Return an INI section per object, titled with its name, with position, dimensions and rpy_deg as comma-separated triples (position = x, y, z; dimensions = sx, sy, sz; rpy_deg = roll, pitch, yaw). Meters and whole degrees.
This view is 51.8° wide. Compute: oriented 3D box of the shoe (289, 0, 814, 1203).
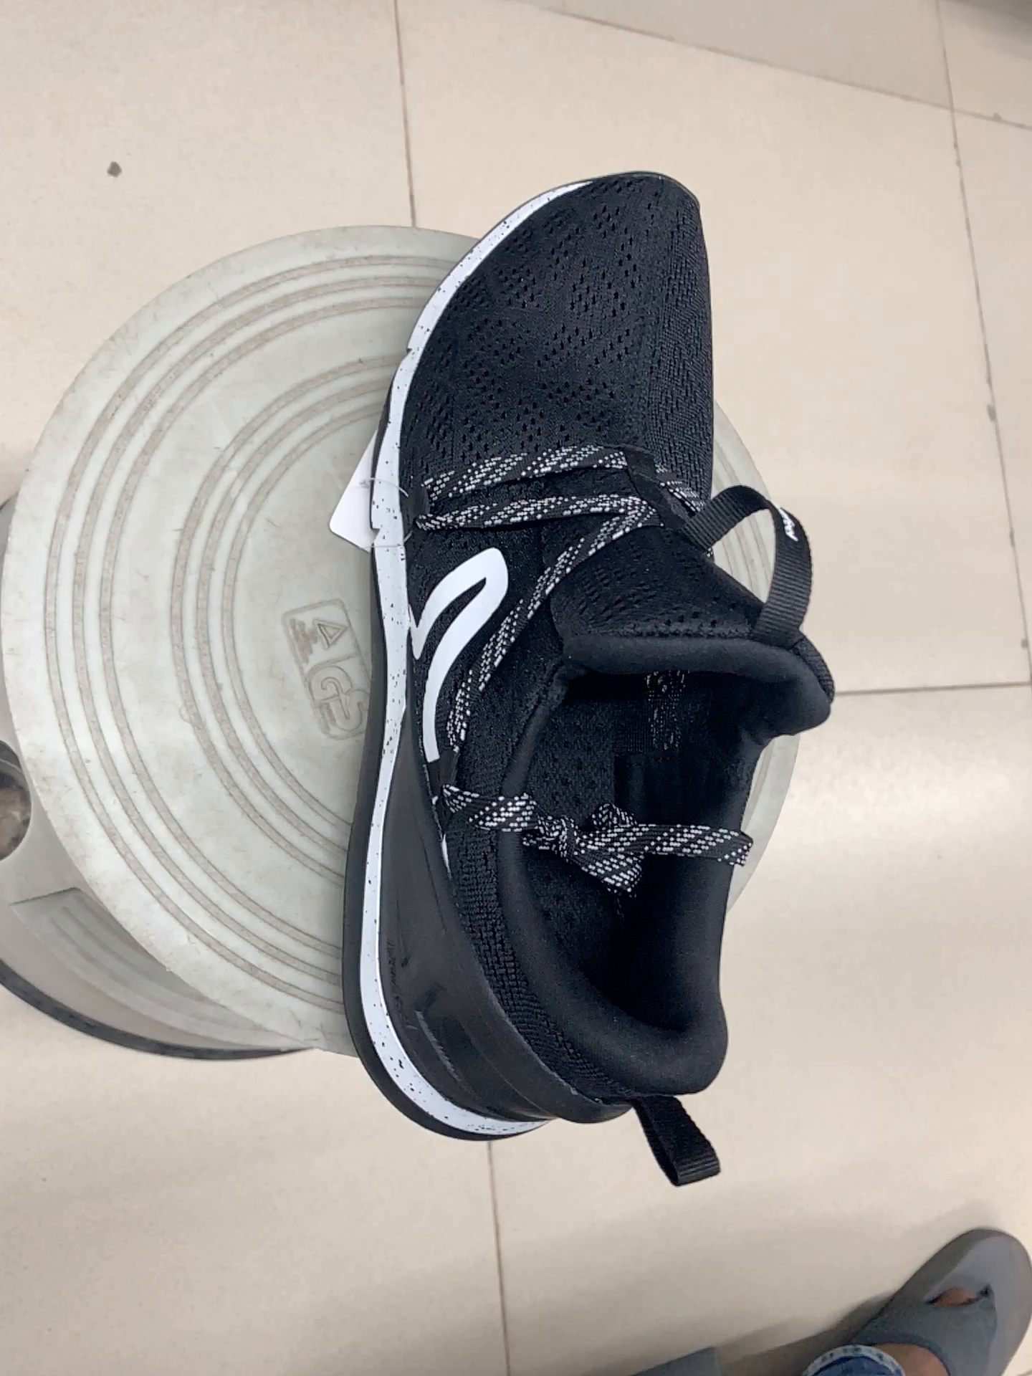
[shoe]
position = 0.013, -0.025, 0.297
dimensions = 0.100, 0.090, 0.290
rpy_deg = 10, 75, -22
